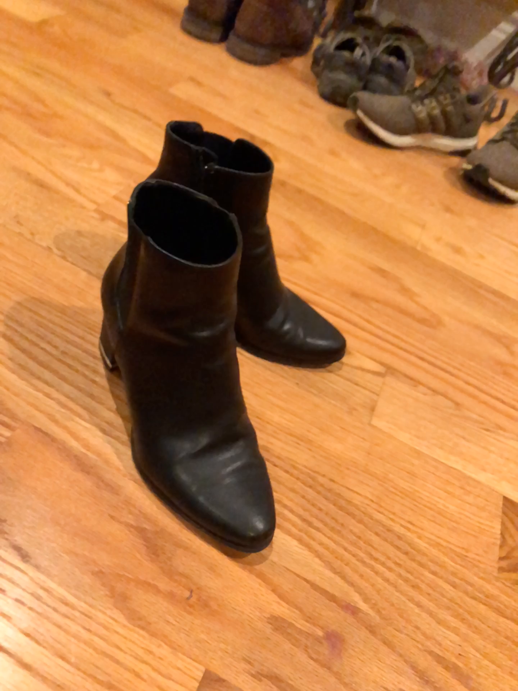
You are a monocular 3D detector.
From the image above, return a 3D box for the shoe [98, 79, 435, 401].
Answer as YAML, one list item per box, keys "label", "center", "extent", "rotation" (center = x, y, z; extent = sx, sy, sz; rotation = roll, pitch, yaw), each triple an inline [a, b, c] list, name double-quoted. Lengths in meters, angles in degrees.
- label: "shoe"
  center: [-0.001, -0.086, 0.502]
  extent: [0.236, 0.175, 0.096]
  rotation: [24, 43, 0]

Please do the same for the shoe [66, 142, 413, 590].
- label: "shoe"
  center: [-0.041, 0.004, 0.394]
  extent: [0.095, 0.175, 0.237]
  rotation: [-12, 54, -33]
